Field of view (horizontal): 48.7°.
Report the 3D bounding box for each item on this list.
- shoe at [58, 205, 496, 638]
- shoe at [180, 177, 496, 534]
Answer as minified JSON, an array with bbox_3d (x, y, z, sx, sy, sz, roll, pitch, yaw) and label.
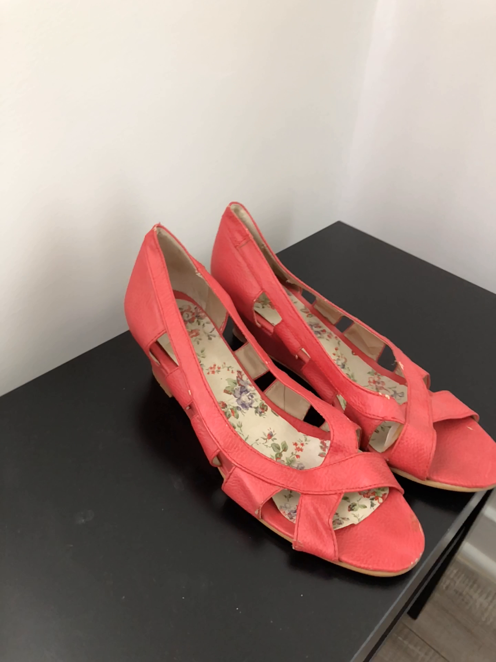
[{"bbox_3d":[0.005,0.030,0.297,0.221,0.100,0.088,33,46,29],"label":"shoe"},{"bbox_3d":[0.064,0.000,0.343,0.231,0.100,0.077,33,46,29],"label":"shoe"}]
